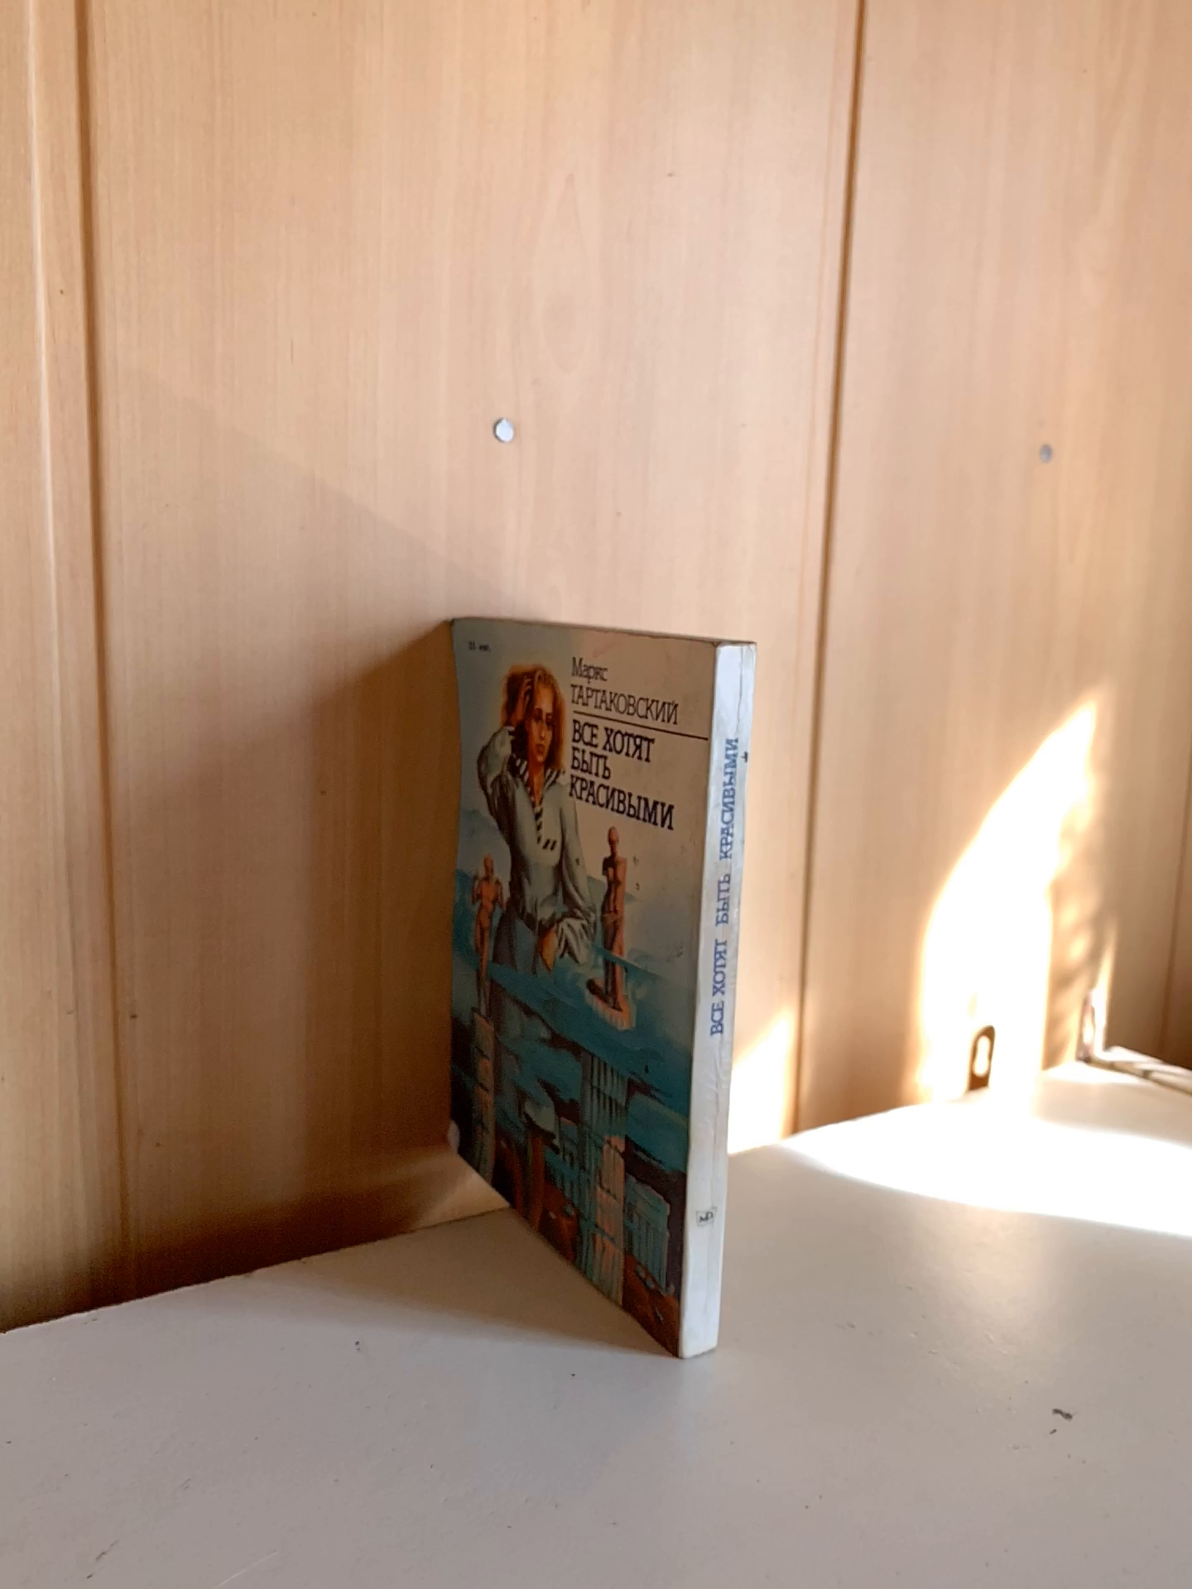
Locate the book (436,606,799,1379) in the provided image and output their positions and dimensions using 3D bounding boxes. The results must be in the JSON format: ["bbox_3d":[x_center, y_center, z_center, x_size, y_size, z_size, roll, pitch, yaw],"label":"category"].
[{"bbox_3d":[-0.003,0.036,0.316,0.029,0.159,0.125,-3,10,-28],"label":"book"}]
